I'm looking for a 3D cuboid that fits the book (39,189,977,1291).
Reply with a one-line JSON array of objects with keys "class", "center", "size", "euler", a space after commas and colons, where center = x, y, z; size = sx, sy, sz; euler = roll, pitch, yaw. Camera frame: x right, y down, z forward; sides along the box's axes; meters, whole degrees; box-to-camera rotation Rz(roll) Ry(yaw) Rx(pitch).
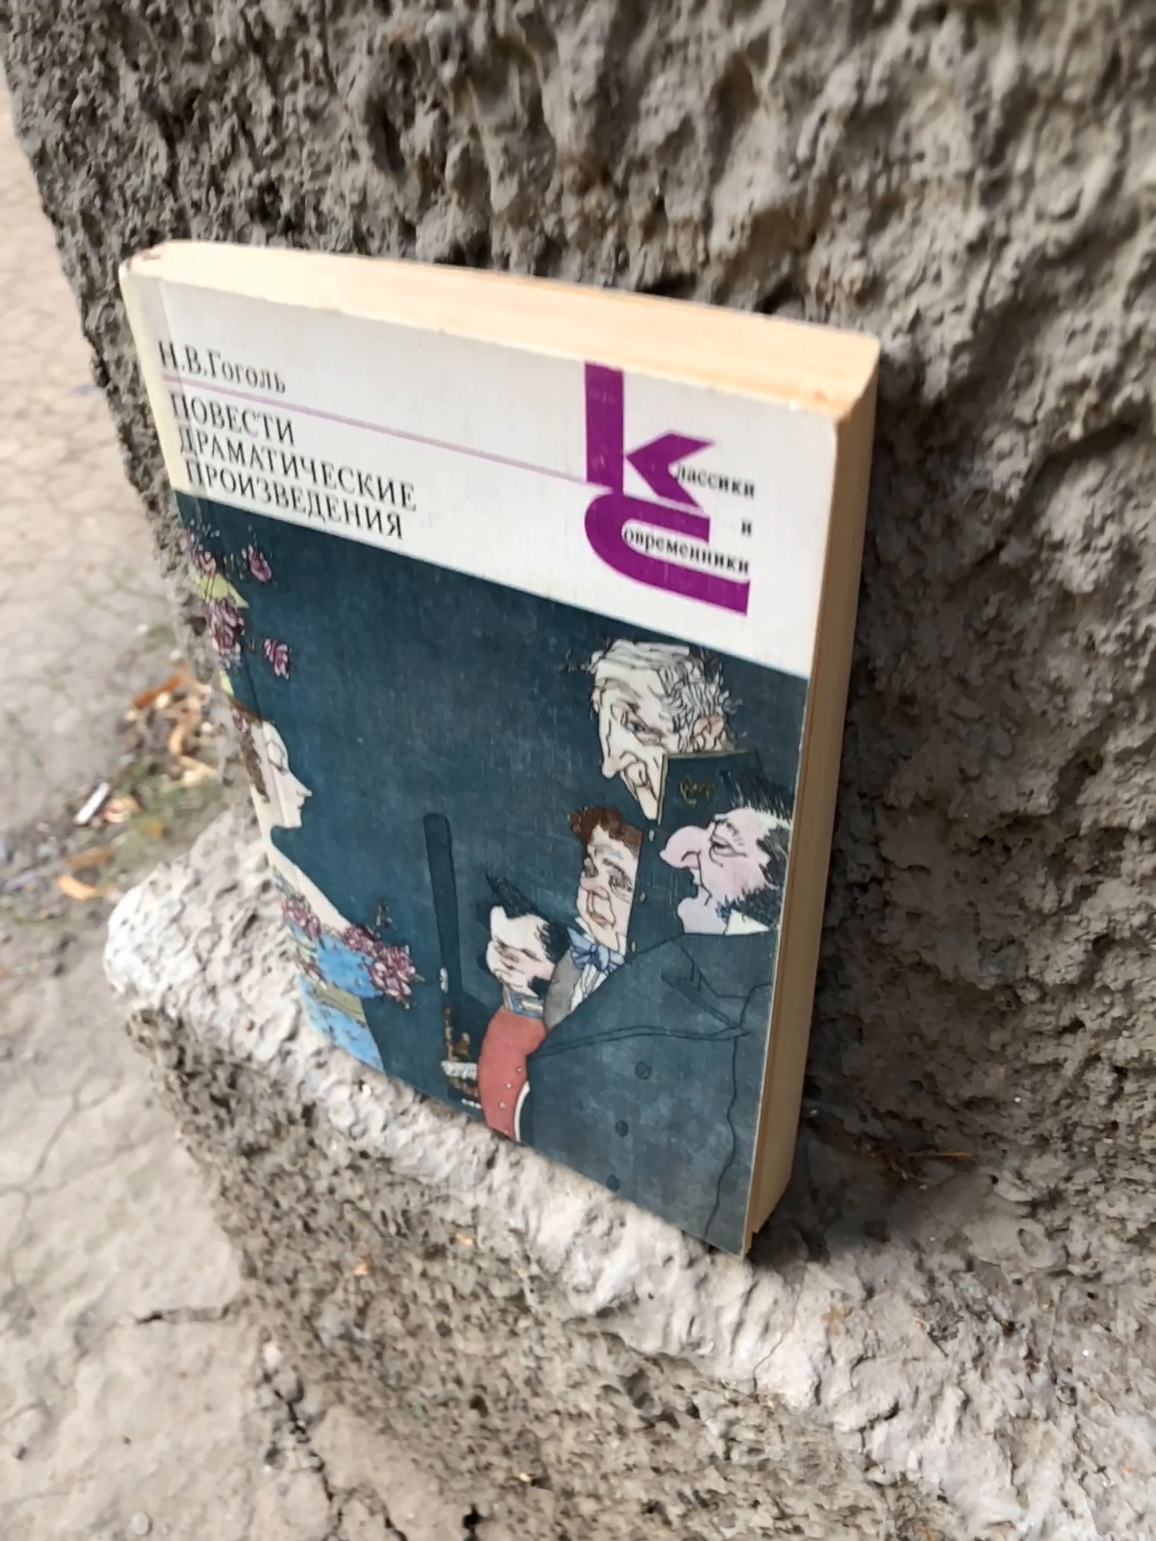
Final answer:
[{"class": "book", "center": [-0.015, 0.004, 0.243], "size": [0.137, 0.190, 0.030], "euler": [18, 42, 22]}]
